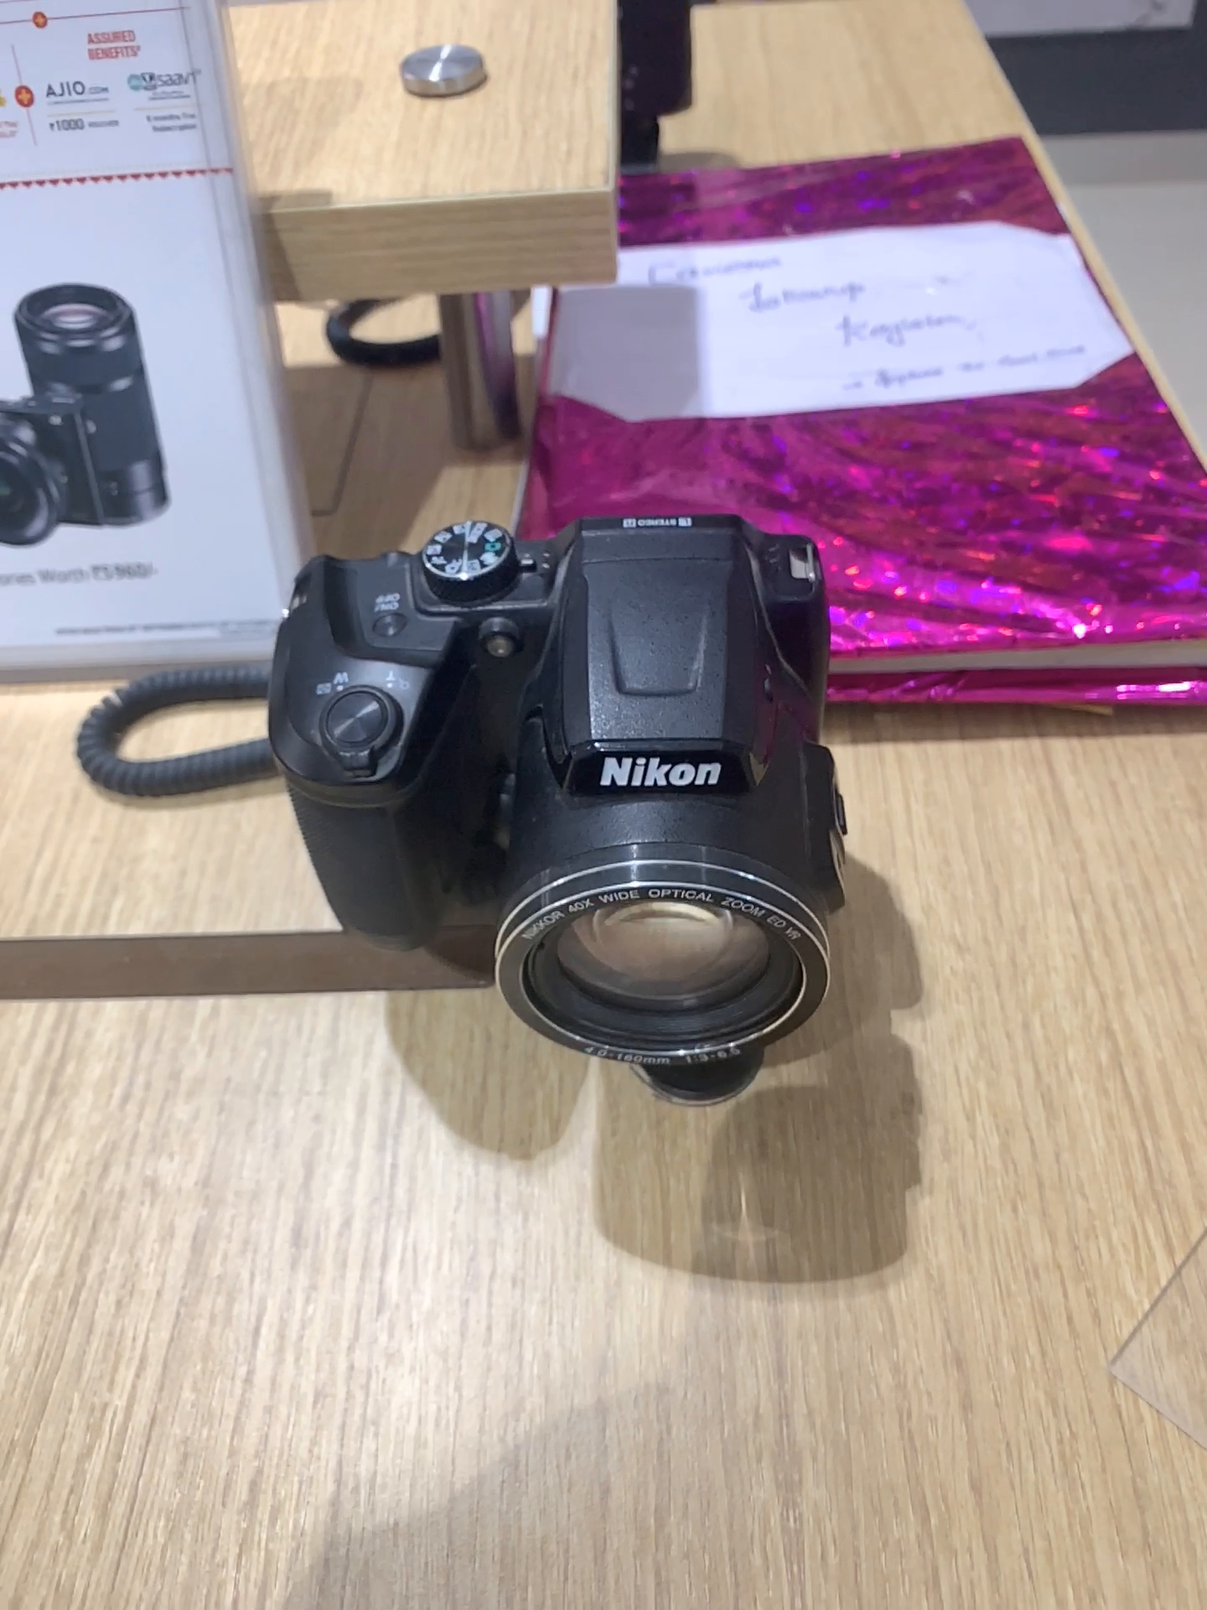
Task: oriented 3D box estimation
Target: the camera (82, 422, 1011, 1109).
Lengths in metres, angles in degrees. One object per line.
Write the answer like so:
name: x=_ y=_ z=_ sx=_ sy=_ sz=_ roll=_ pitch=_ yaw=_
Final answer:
camera: x=-0.006 y=-0.006 z=0.239 sx=0.130 sy=0.090 sz=0.090 roll=-1 pitch=48 yaw=3
